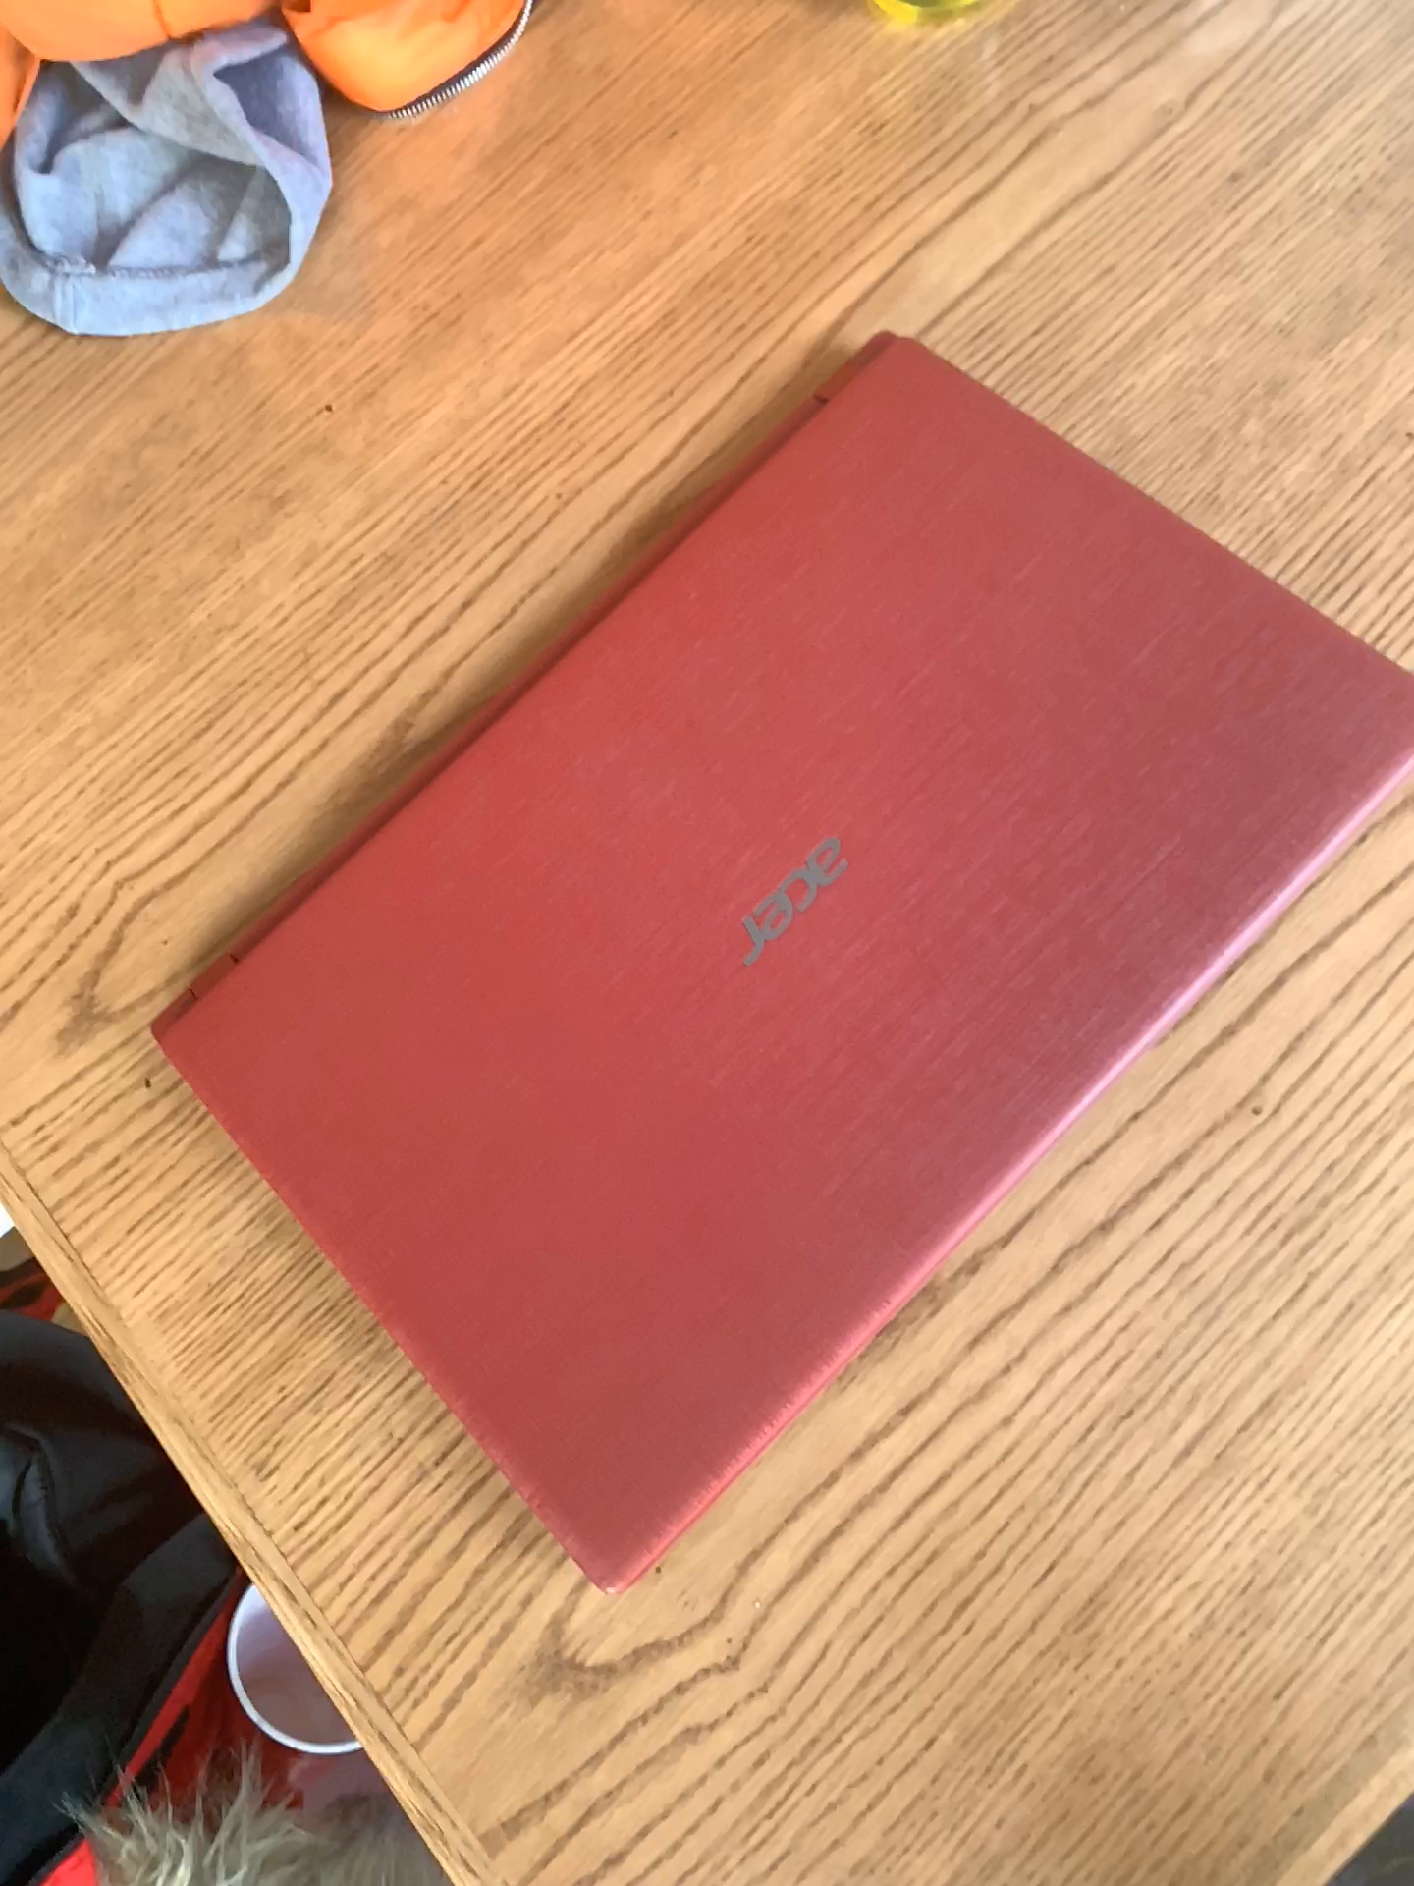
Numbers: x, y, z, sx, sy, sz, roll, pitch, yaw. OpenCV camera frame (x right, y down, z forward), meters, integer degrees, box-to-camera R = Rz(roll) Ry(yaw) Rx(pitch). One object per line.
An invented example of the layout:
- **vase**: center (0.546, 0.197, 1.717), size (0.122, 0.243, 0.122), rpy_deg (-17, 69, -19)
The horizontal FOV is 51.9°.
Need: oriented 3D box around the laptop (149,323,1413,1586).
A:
- **laptop**: center (0.020, -0.017, 0.476), size (0.362, 0.013, 0.236), rpy_deg (-45, 70, -4)
